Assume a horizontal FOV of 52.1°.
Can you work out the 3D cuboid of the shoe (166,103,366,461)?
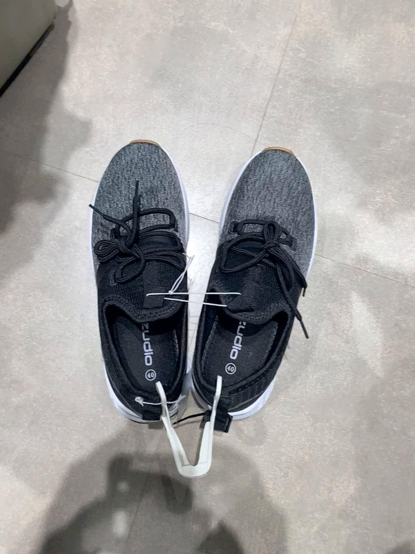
[{"bbox_3d":[0.050,0.003,0.397,0.107,0.096,0.278,14,82,-1],"label":"shoe"}]

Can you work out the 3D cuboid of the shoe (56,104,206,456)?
[{"bbox_3d":[-0.066,0.000,0.388,0.106,0.096,0.278,-4,83,-4],"label":"shoe"}]
